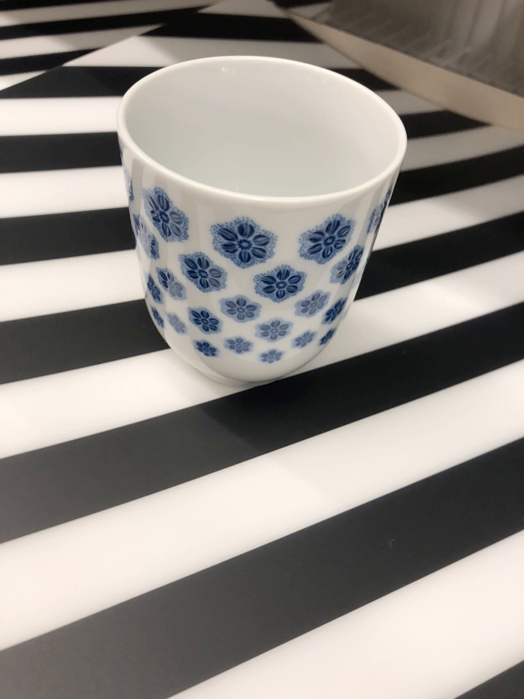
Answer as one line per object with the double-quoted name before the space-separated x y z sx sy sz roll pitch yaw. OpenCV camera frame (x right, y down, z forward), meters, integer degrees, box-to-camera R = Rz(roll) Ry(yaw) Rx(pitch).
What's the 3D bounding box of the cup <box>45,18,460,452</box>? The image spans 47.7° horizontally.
"cup" -0.002 -0.037 0.178 0.070 0.080 0.080 32 52 21
